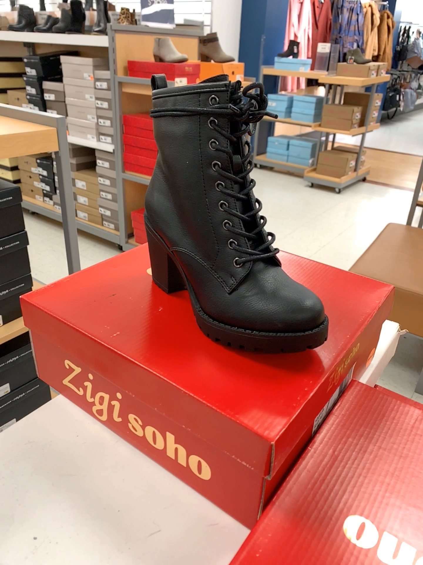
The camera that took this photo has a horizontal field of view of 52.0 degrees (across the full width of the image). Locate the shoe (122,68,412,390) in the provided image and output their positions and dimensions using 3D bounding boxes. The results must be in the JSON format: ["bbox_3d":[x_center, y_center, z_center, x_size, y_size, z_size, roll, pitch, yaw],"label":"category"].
[{"bbox_3d":[0.025,-0.061,0.366,0.092,0.203,0.201,-21,36,-38],"label":"shoe"}]
